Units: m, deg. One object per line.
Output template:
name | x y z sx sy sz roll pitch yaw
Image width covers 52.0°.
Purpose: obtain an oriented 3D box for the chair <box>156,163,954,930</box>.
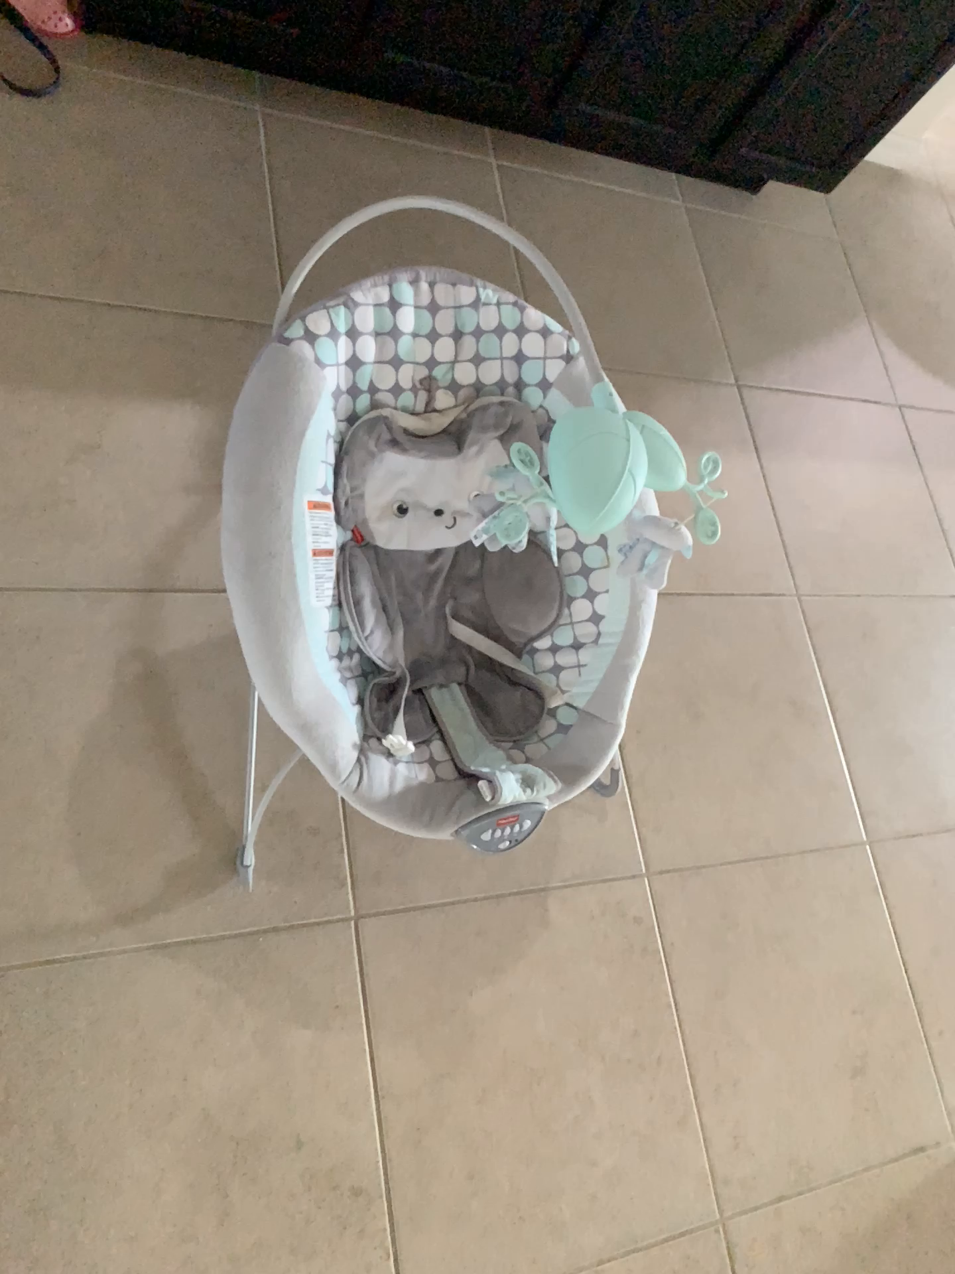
chair | 0.019 -0.051 1.088 0.573 0.580 0.546 -6 71 -28
